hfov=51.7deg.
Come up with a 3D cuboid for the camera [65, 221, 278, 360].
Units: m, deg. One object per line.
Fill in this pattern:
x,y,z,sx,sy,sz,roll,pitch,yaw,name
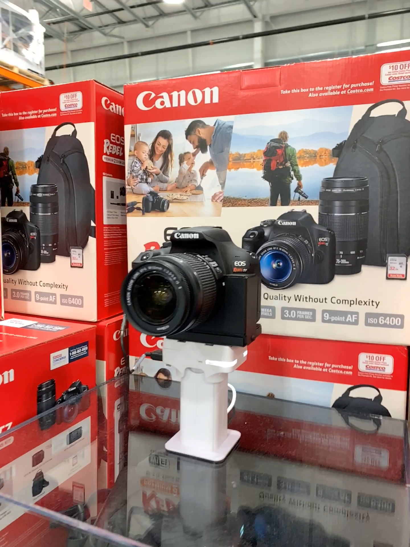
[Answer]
-0.021,0.001,0.404,0.140,0.100,0.160,3,7,24,camera
